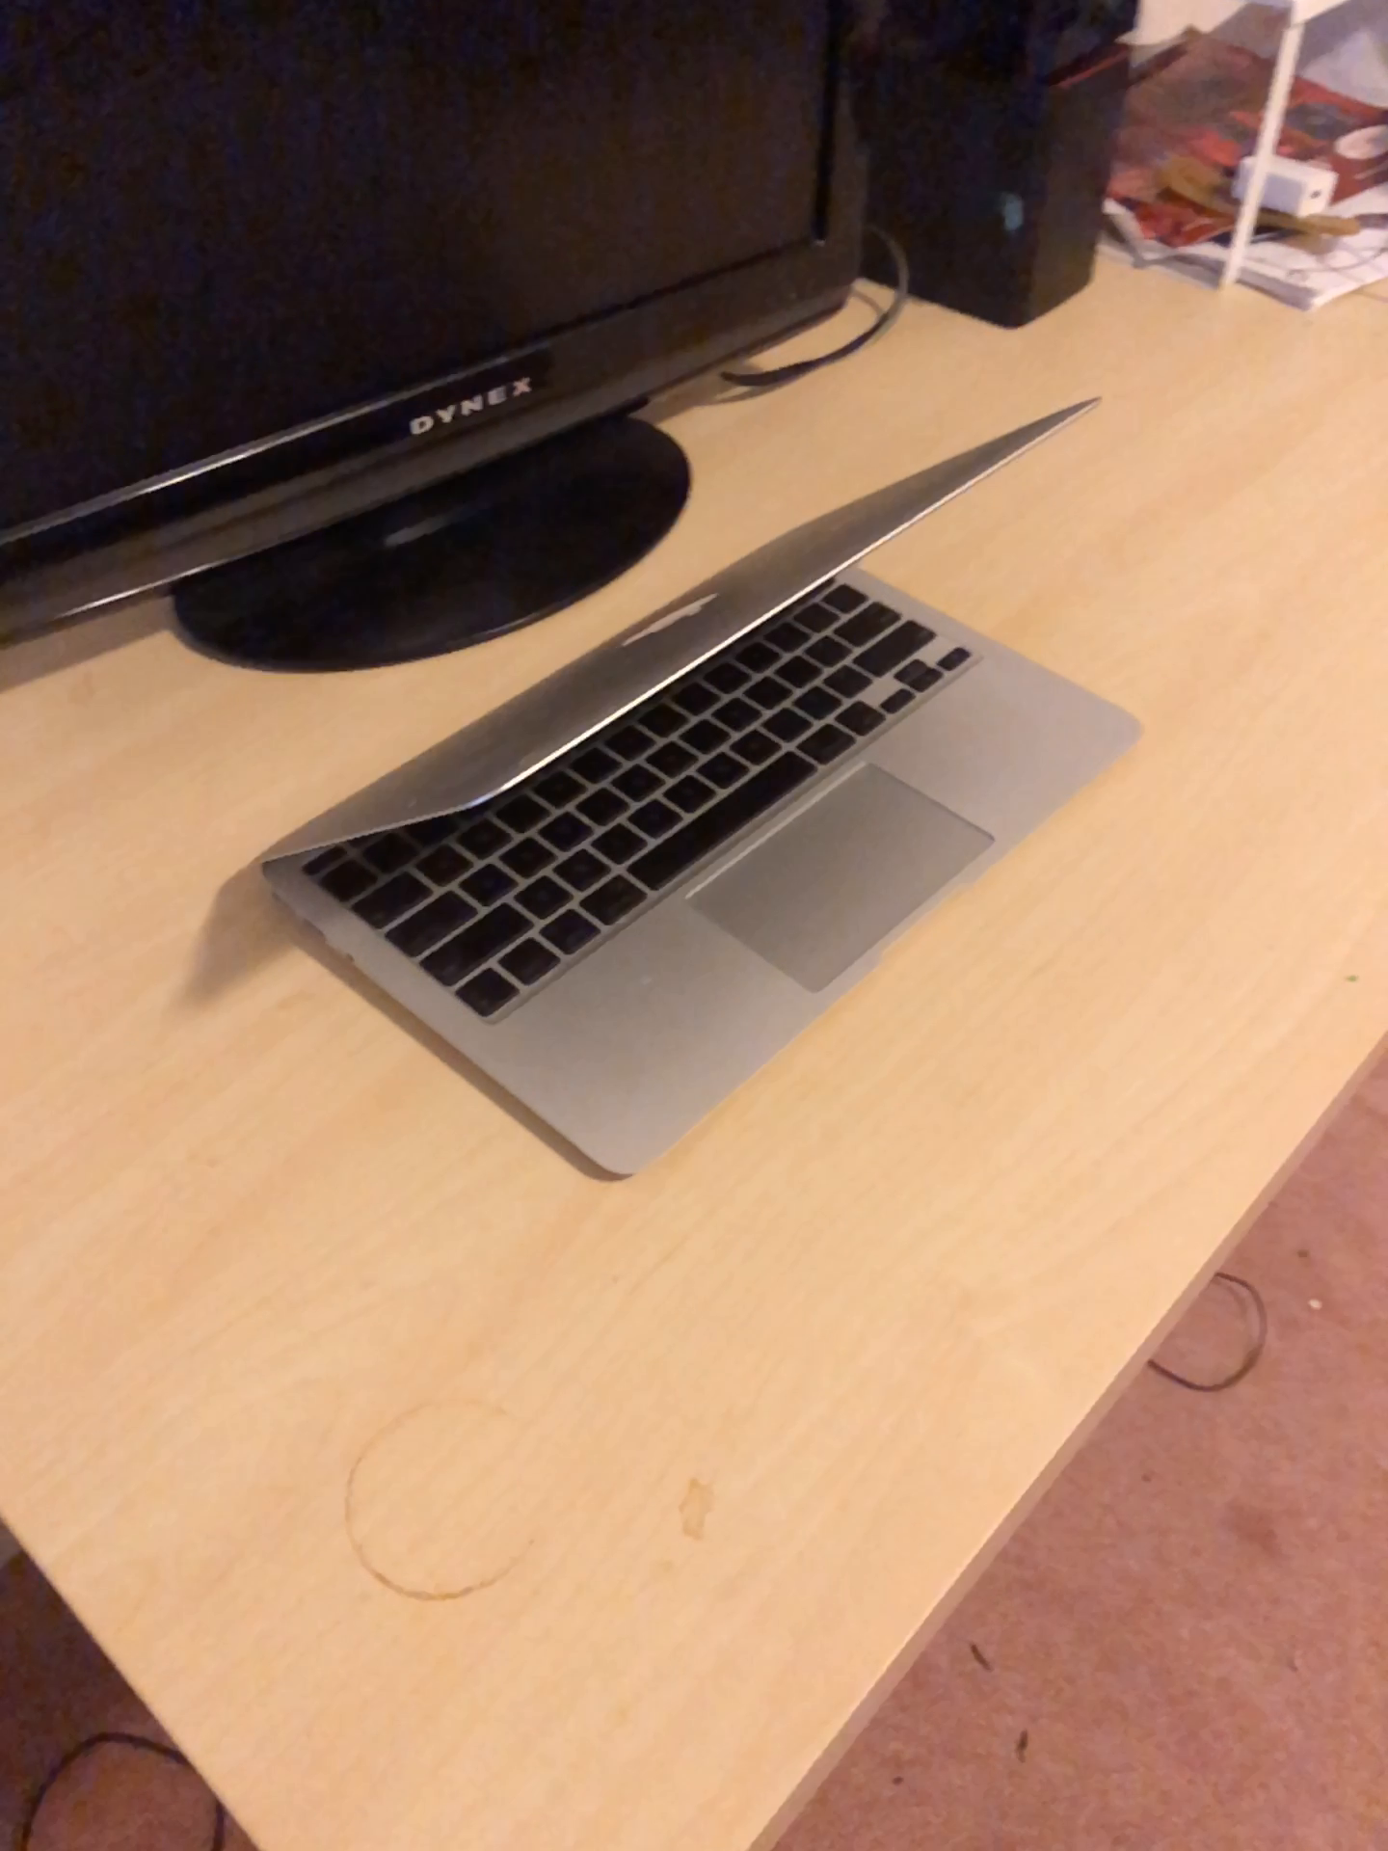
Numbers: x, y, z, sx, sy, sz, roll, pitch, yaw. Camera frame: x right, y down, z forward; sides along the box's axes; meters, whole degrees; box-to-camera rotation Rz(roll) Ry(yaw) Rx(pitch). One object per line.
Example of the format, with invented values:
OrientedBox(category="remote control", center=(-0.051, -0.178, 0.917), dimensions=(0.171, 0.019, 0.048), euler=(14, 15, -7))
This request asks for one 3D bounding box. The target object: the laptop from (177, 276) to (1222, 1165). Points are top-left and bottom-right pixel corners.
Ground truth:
OrientedBox(category="laptop", center=(0.010, -0.093, 0.534), dimensions=(0.190, 0.127, 0.287), euler=(34, 55, 28))
